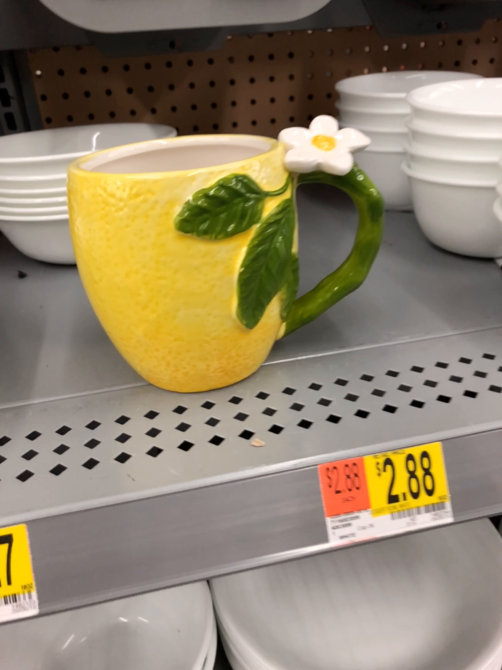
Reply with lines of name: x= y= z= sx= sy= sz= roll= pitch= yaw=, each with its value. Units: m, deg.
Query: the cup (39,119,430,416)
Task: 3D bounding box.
cup: x=-0.008 y=-0.040 z=0.264 sx=0.139 sy=0.094 sz=0.101 roll=-7 pitch=28 yaw=-7
